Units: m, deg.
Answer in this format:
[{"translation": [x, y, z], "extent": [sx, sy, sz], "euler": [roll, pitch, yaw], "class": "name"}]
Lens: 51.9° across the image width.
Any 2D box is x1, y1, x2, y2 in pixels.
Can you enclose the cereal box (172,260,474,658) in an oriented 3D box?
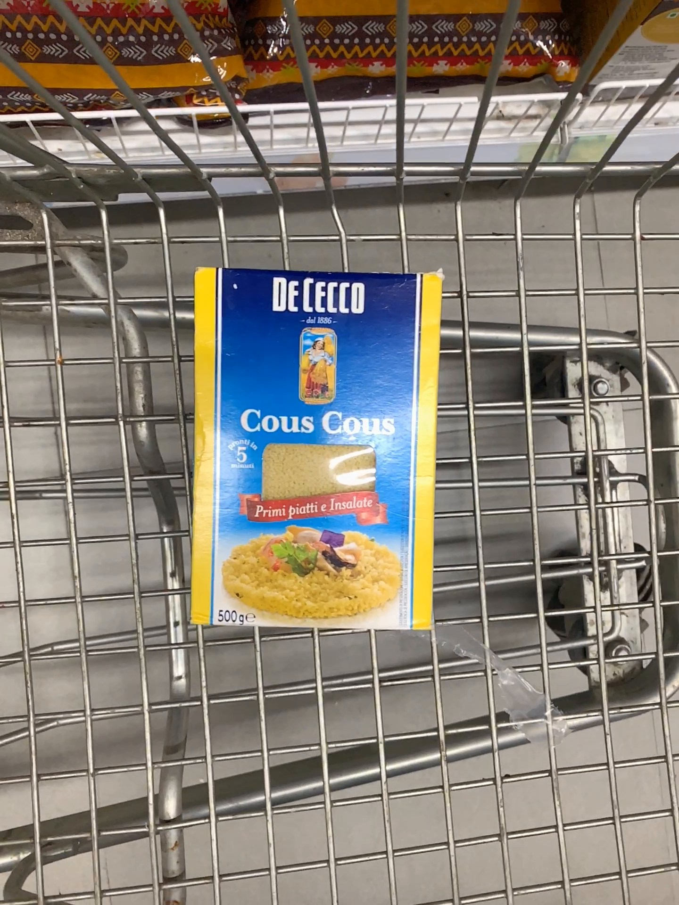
[{"translation": [-0.007, 0.002, 0.311], "extent": [0.120, 0.050, 0.160], "euler": [2, 91, 1], "class": "cereal box"}]
